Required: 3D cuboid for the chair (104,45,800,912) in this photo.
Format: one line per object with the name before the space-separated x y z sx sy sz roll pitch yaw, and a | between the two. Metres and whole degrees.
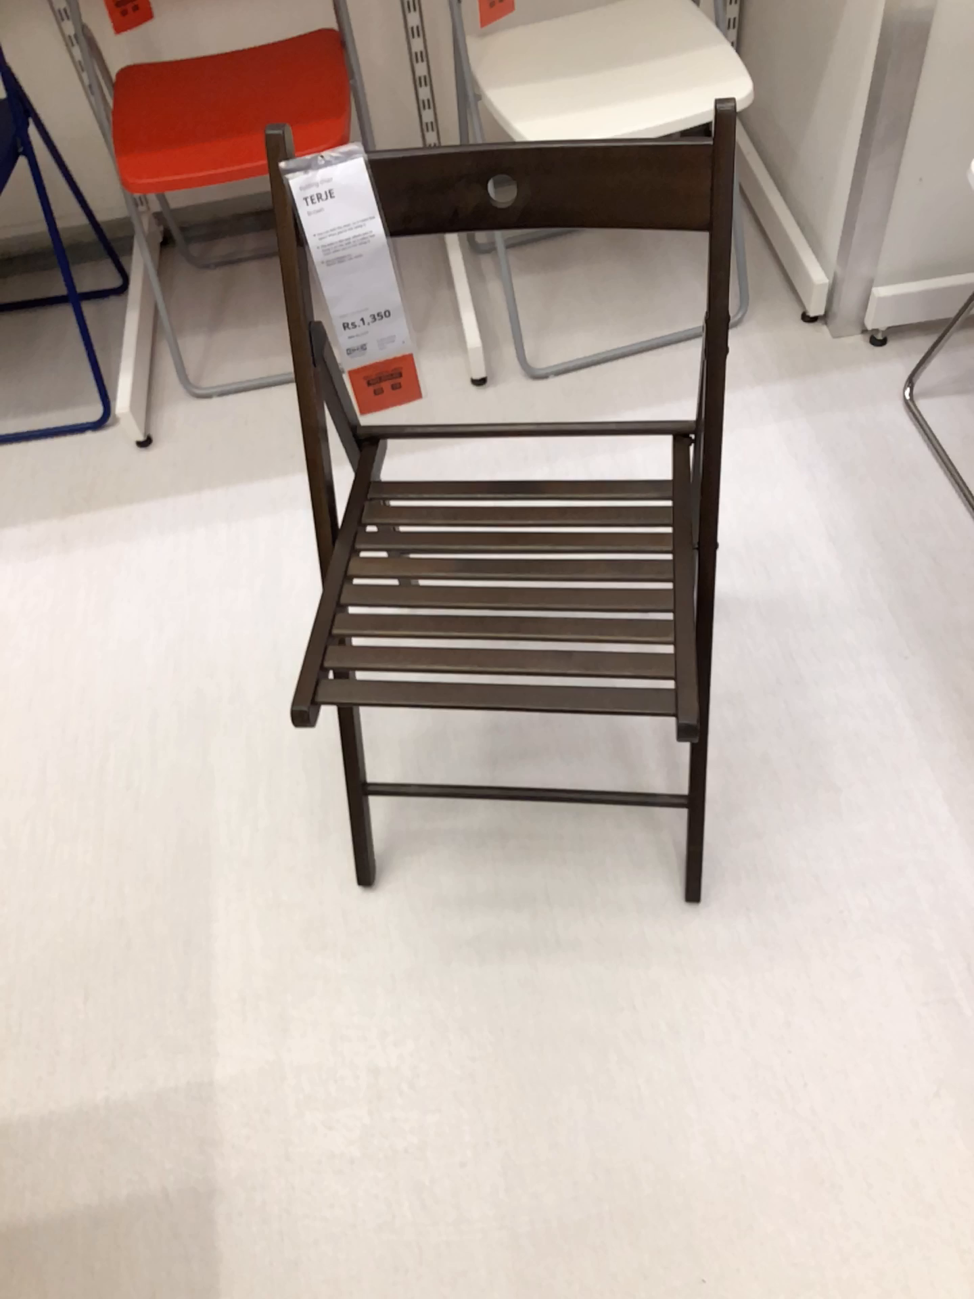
chair | 0.028 -0.114 1.160 0.460 0.776 0.503 1 55 8
